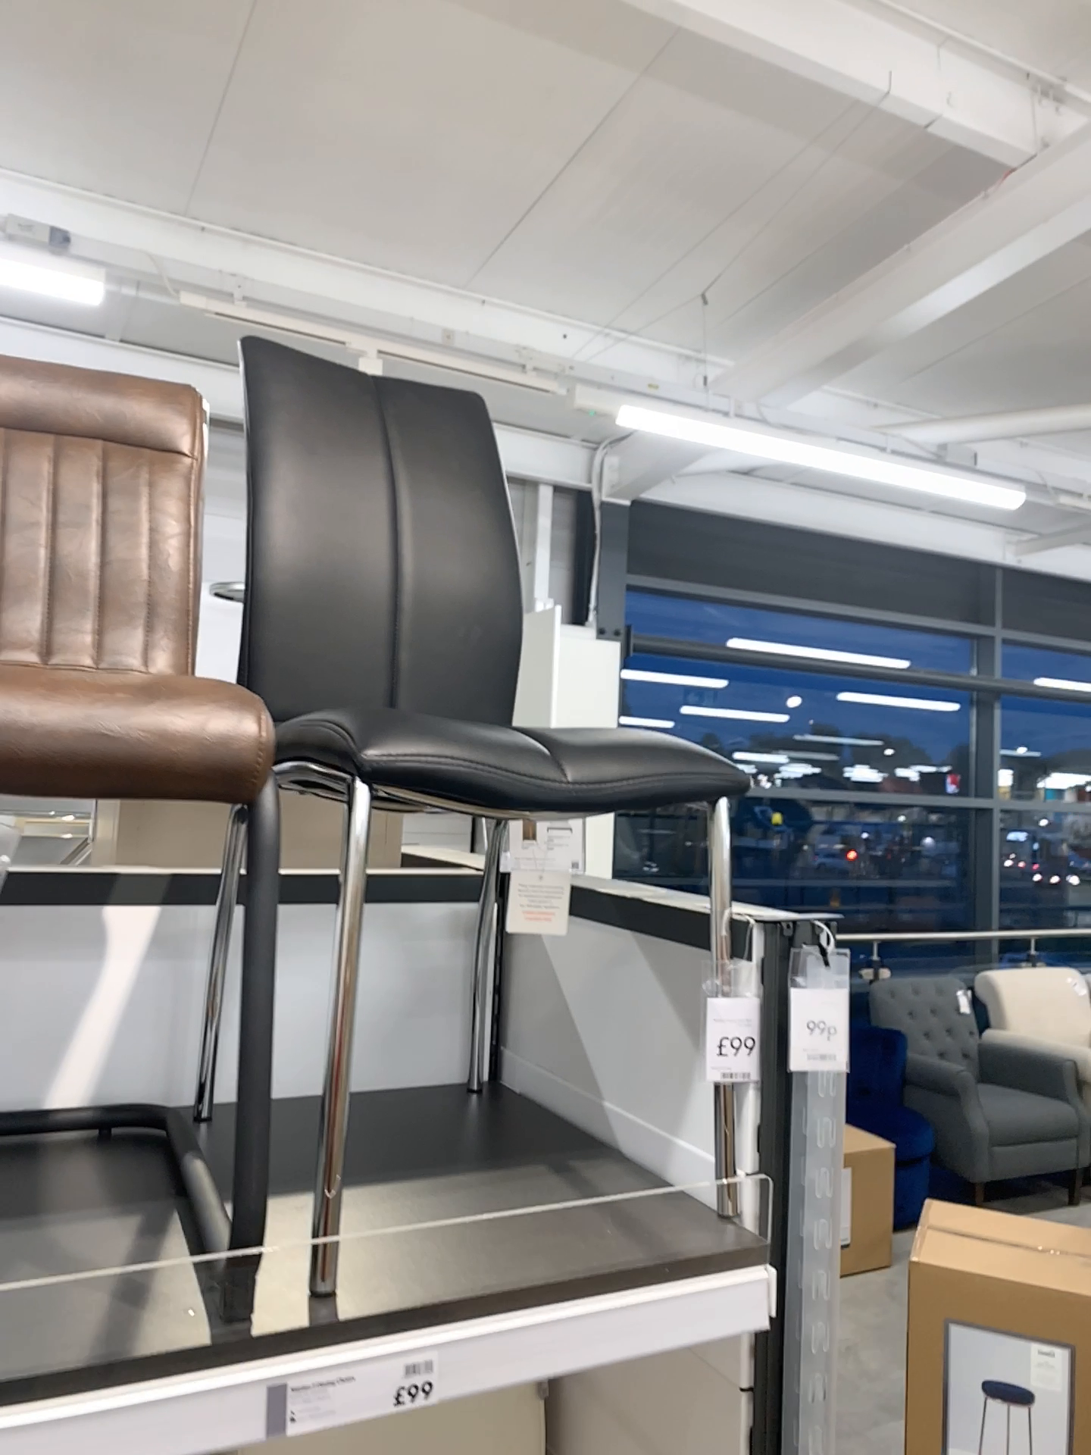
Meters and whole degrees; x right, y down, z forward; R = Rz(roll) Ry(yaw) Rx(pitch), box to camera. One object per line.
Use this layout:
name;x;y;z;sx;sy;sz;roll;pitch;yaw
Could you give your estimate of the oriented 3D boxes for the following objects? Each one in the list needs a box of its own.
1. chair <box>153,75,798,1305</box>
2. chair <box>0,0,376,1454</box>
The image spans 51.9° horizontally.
chair;-0.107;-0.028;1.268;0.474;0.995;0.583;5;-5;-28
chair;-0.530;-0.024;0.999;0.554;0.885;0.582;5;-5;-25
